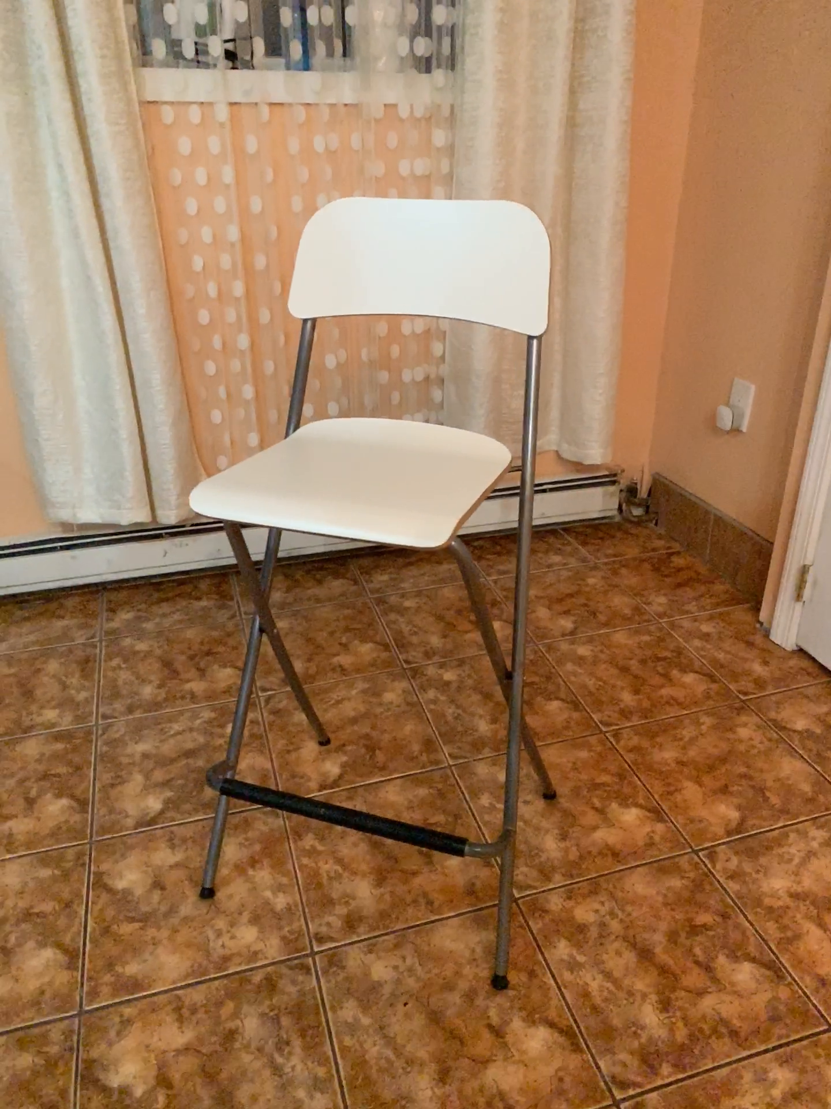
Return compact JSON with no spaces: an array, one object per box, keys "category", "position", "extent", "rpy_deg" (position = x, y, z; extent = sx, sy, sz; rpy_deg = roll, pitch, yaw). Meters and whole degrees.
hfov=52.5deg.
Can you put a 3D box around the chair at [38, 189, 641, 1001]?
[{"category":"chair","position":[-0.048,0.020,1.277],"extent":[0.598,1.007,0.545],"rpy_deg":[8,27,14]}]
